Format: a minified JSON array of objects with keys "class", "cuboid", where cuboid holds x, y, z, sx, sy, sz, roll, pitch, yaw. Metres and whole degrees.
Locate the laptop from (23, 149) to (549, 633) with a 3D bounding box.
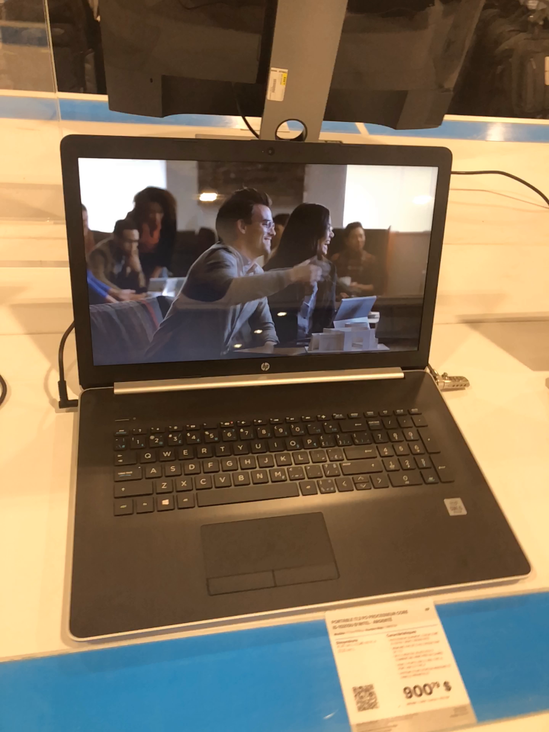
[{"class":"laptop","cuboid":[0.016,-0.009,0.580,0.411,0.242,0.382,-3,43,-12]}]
